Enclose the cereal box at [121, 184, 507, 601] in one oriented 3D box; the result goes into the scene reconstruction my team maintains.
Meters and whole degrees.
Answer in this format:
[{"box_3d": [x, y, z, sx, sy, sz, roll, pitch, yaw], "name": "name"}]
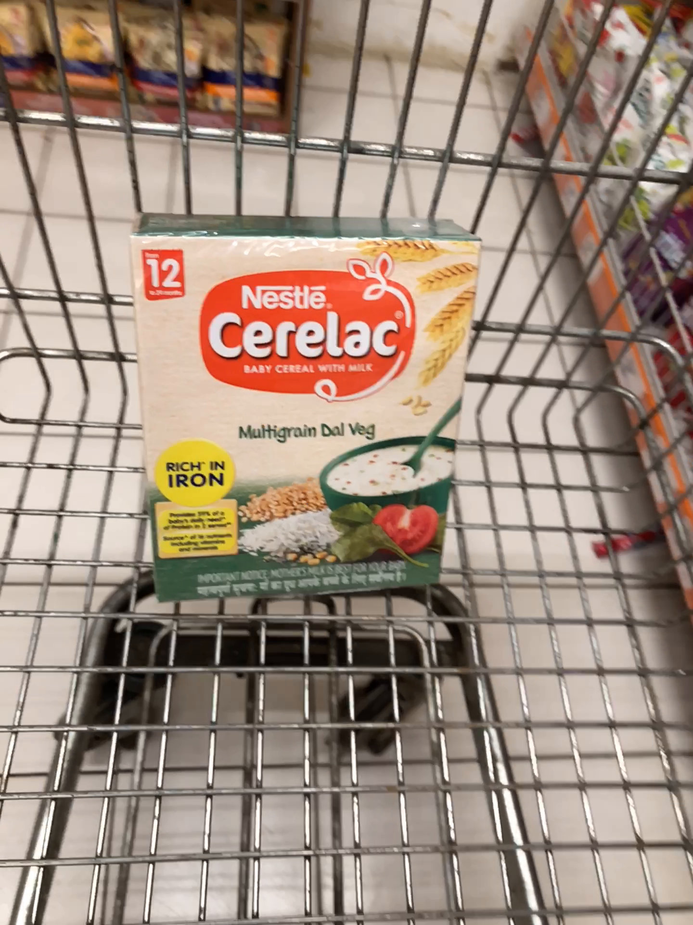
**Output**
[{"box_3d": [-0.020, -0.031, 0.378, 0.160, 0.189, 0.050, -2, 26, -11], "name": "cereal box"}]
